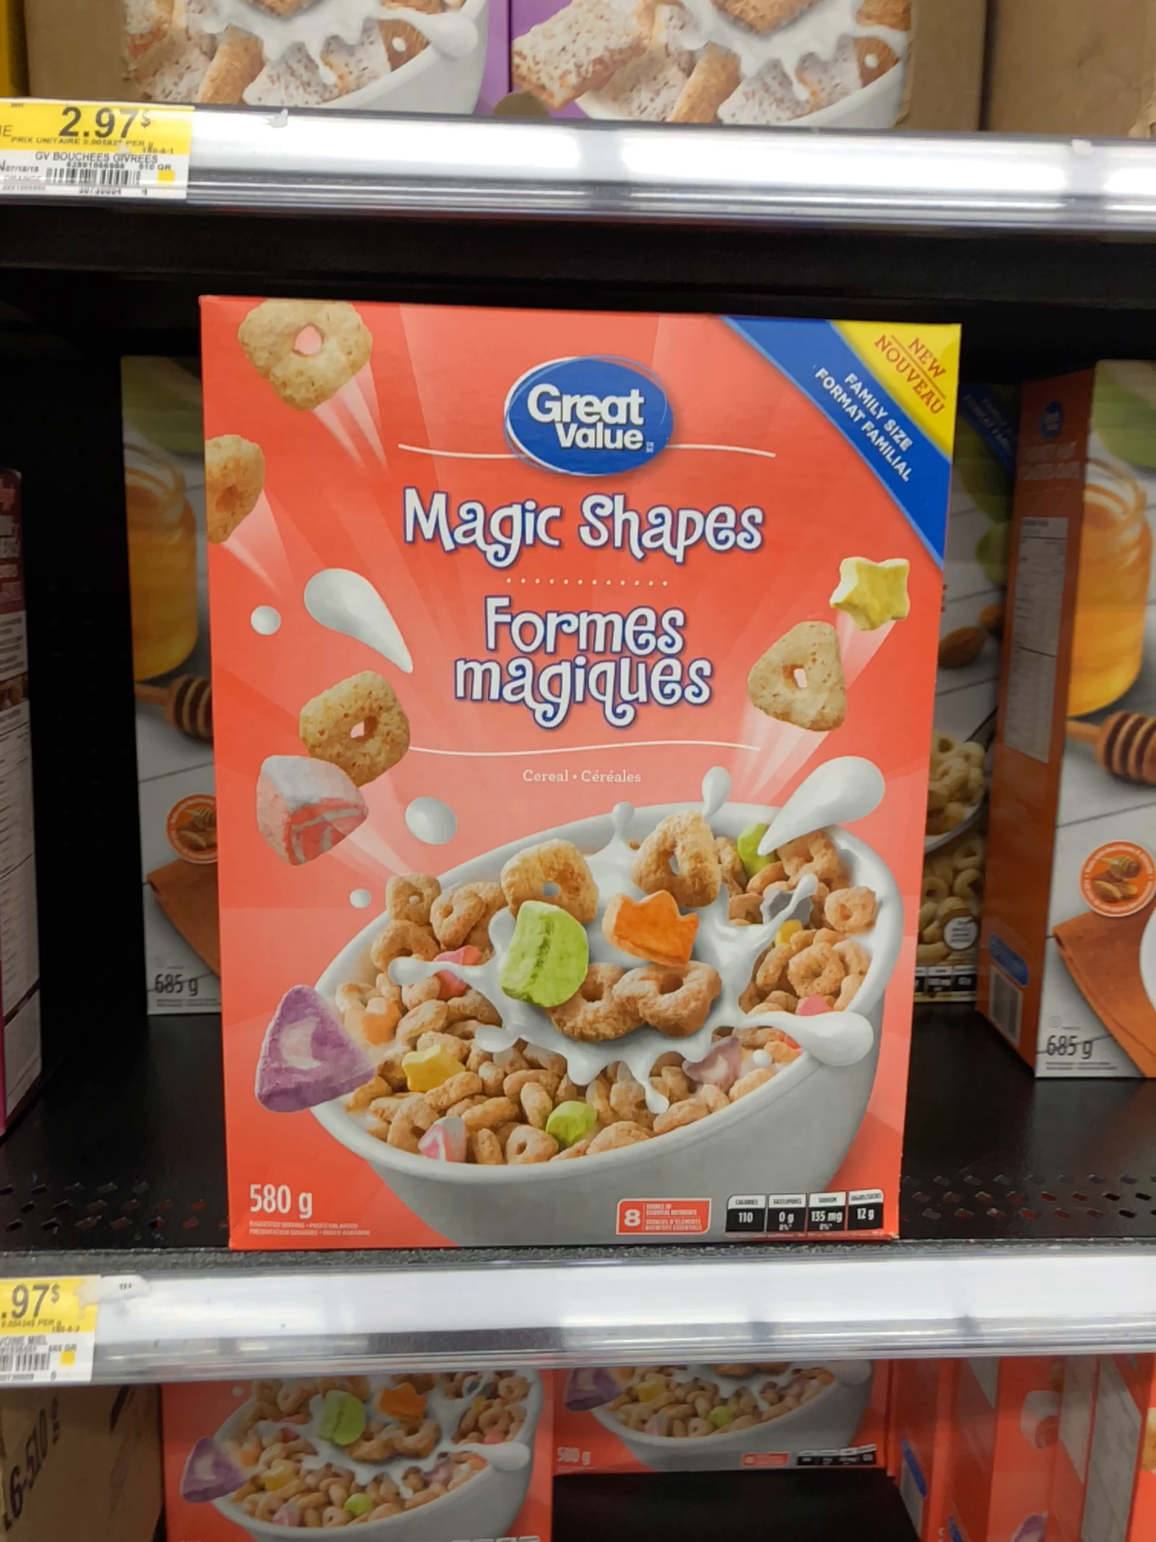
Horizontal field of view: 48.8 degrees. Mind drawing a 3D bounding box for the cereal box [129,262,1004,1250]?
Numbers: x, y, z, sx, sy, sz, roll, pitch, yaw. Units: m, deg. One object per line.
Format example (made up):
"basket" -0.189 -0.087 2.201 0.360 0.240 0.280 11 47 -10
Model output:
"cereal box" -0.006 0.001 0.446 0.260 0.319 0.070 0 12 -4
